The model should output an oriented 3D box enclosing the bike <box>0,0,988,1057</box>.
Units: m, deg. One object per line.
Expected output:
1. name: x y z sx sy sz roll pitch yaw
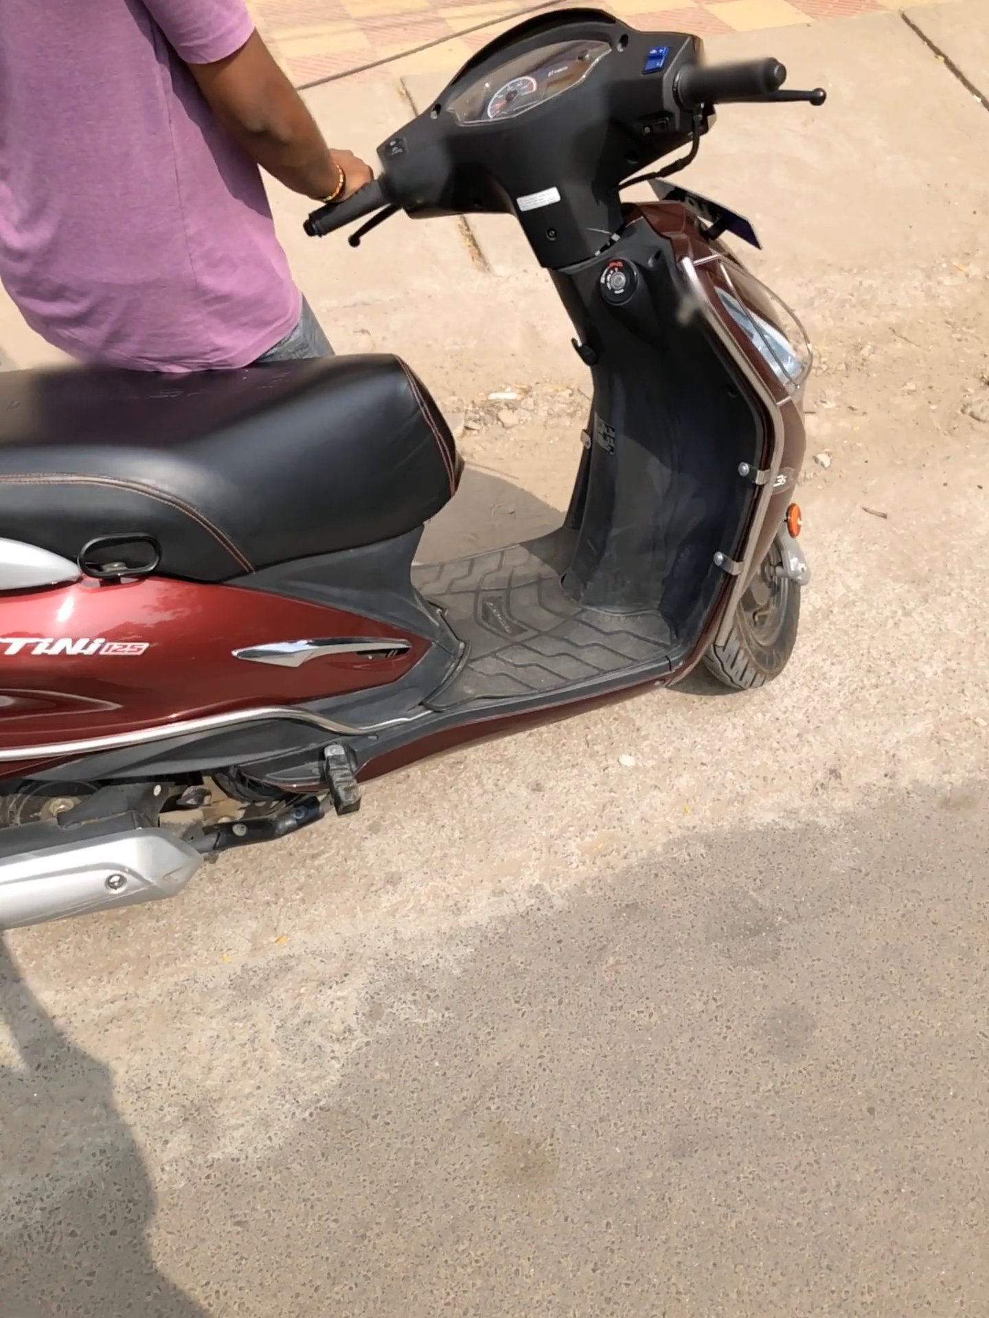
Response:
1. bike: -0.196 -0.312 1.658 1.619 1.125 0.677 -22 51 -18
